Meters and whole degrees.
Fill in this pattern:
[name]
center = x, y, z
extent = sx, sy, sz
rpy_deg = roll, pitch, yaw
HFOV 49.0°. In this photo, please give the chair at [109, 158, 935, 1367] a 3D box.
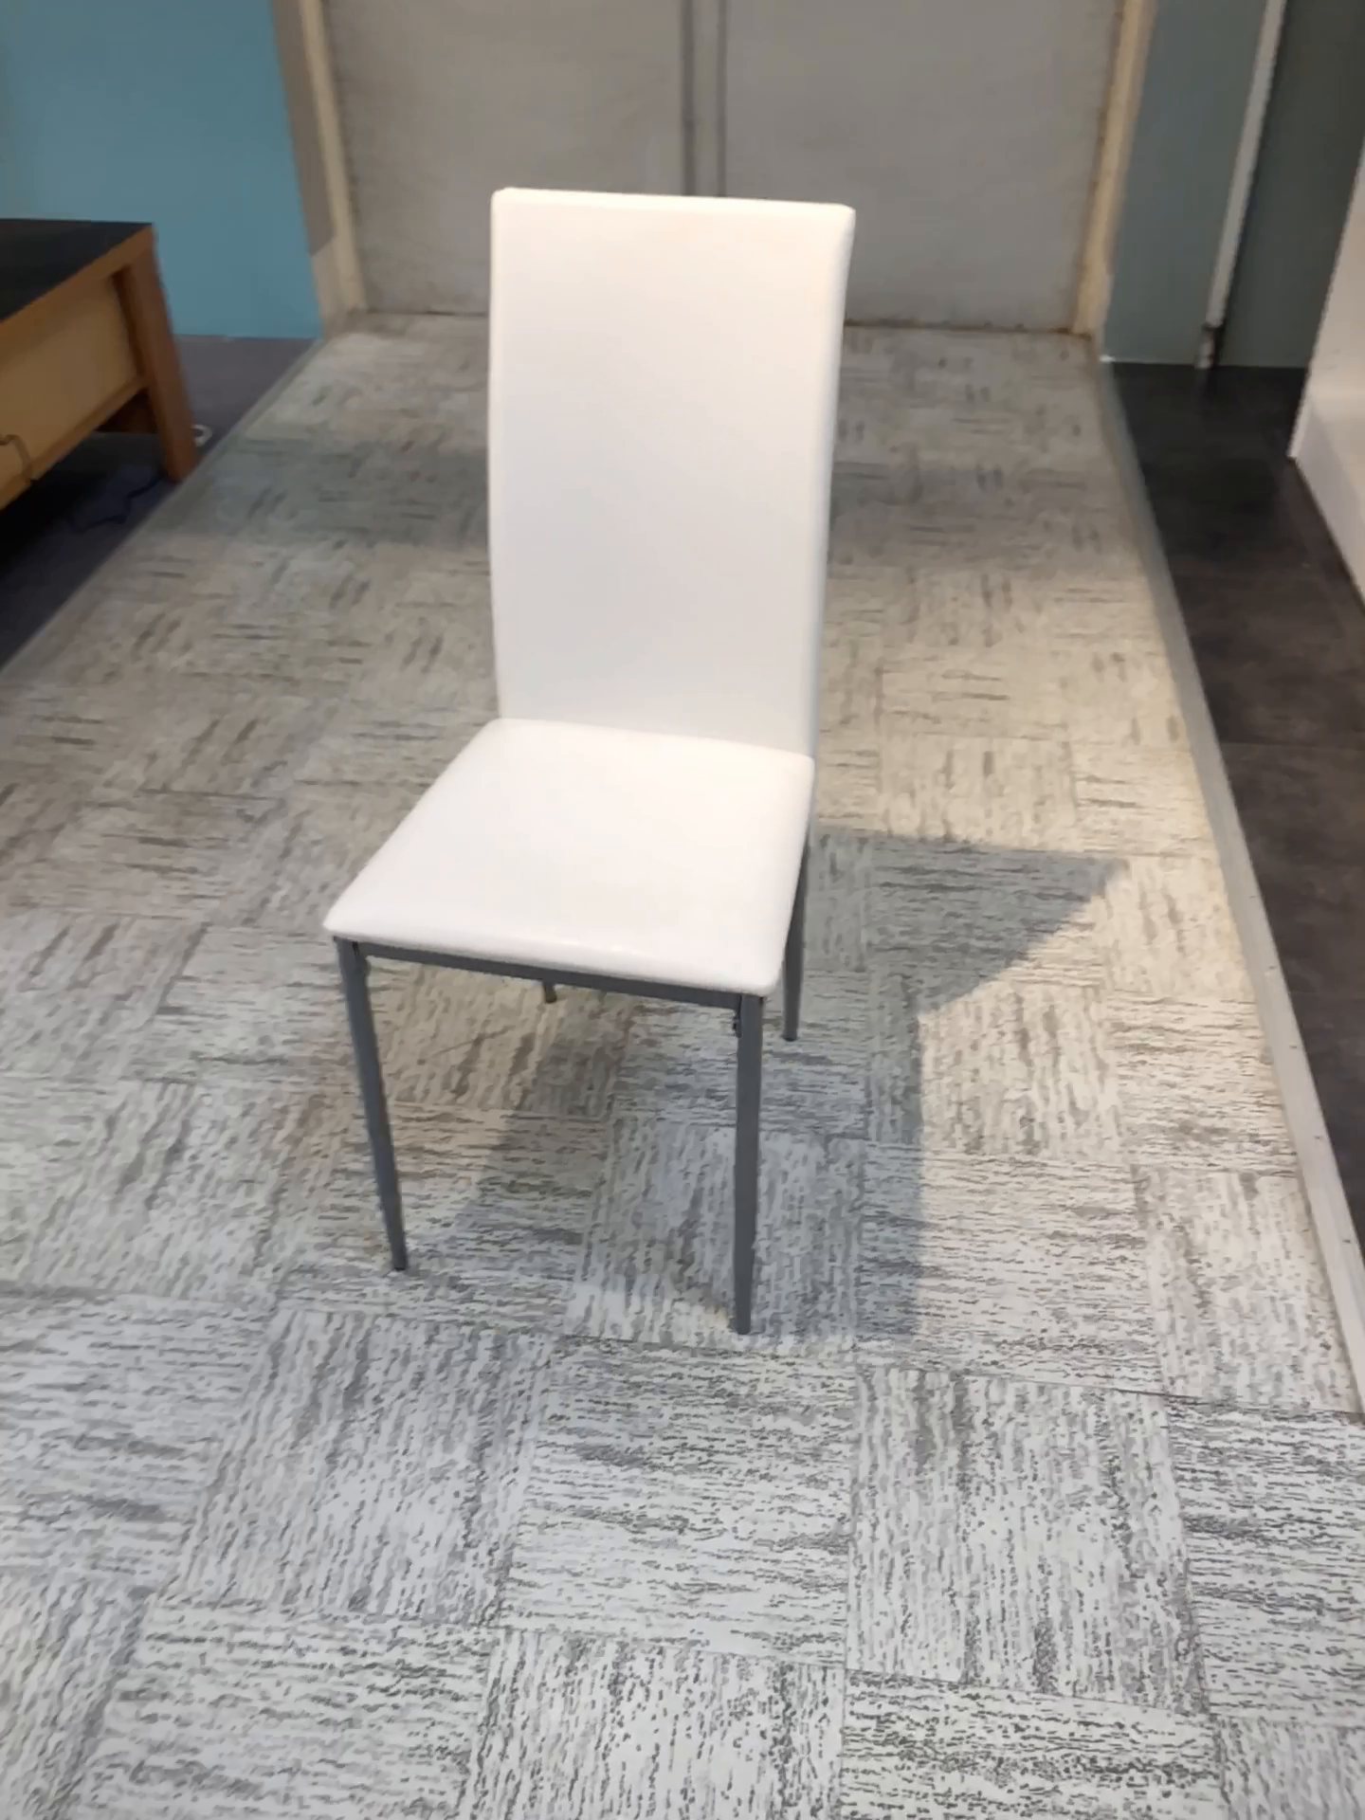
[chair]
center = -0.074, -0.128, 1.428
extent = 0.470, 0.944, 0.554
rpy_deg = 9, 39, 11
